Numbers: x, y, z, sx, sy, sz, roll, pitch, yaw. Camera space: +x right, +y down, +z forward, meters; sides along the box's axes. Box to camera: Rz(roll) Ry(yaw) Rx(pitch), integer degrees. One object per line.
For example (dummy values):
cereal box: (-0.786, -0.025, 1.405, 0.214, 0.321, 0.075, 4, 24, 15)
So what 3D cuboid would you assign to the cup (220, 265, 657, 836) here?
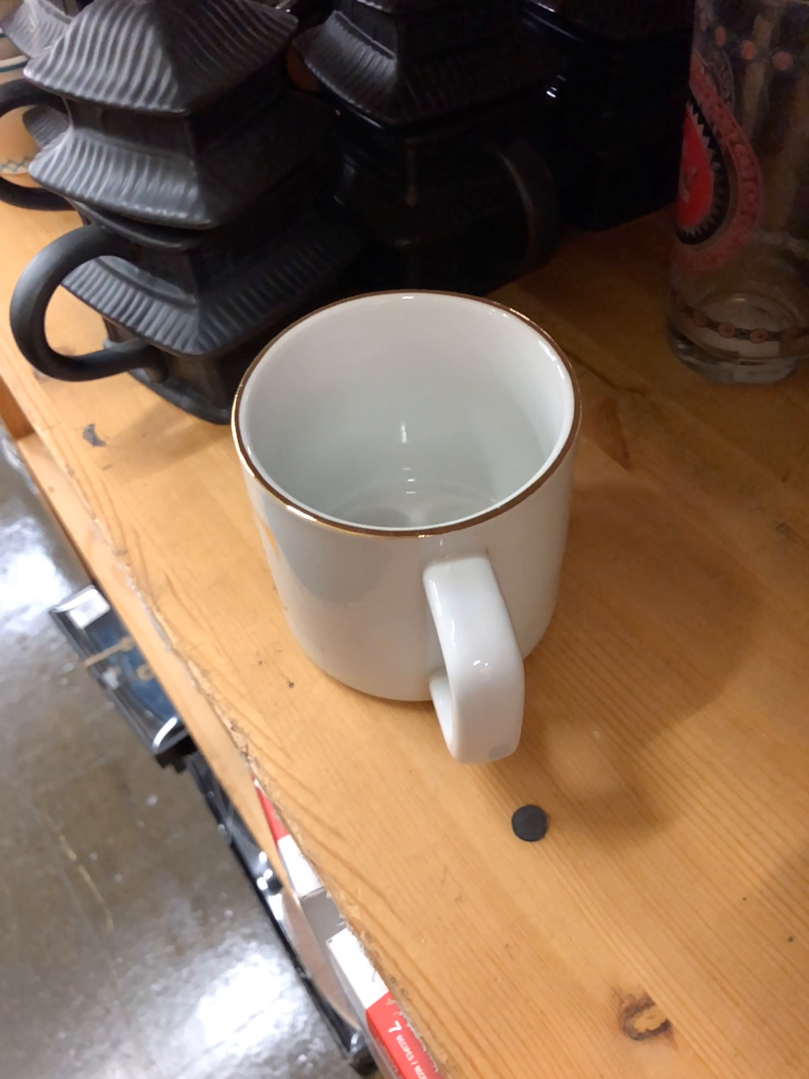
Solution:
cup: (0.002, 0.001, 0.253, 0.088, 0.084, 0.123, -8, 51, -2)

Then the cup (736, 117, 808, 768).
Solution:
cup: (0.155, -0.022, 0.221, 0.078, 0.104, 0.093, -23, 53, -13)

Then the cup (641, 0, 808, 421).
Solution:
cup: (0.131, -0.121, 0.300, 0.078, 0.134, 0.093, 2, 52, 6)
